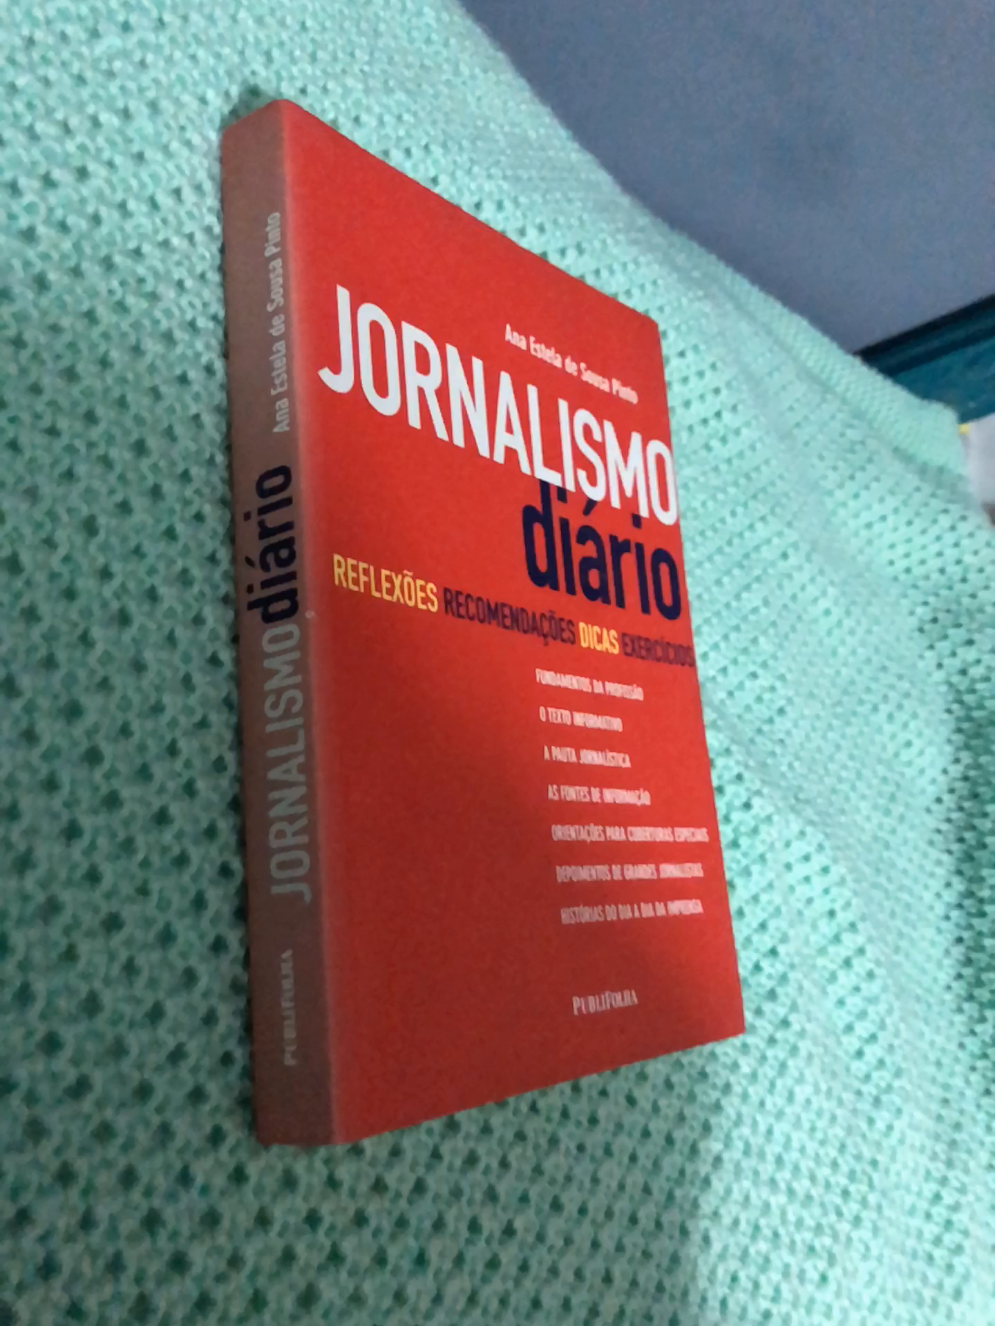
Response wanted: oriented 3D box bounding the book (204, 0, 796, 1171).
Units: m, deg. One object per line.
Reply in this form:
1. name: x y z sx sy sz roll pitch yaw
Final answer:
1. book: 0.005 -0.021 0.286 0.161 0.030 0.250 10 70 -45
